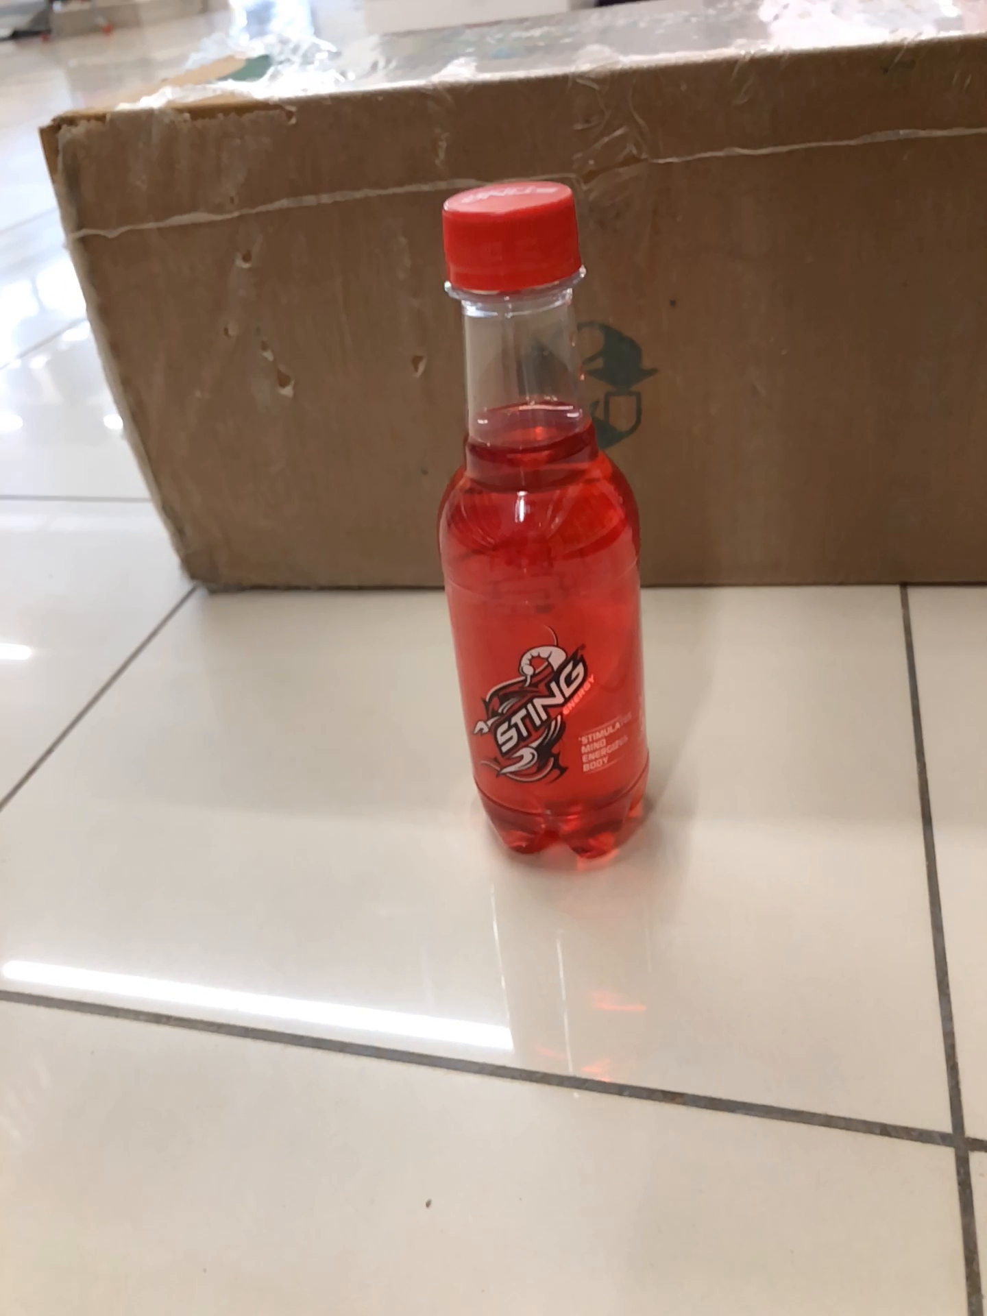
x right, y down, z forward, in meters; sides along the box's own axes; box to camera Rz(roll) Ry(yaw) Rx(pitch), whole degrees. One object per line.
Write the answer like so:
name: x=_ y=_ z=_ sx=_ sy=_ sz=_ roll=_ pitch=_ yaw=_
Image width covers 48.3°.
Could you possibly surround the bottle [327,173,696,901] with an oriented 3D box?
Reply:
bottle: x=0.016 y=-0.028 z=0.301 sx=0.070 sy=0.179 sz=0.070 roll=-5 pitch=32 yaw=3
